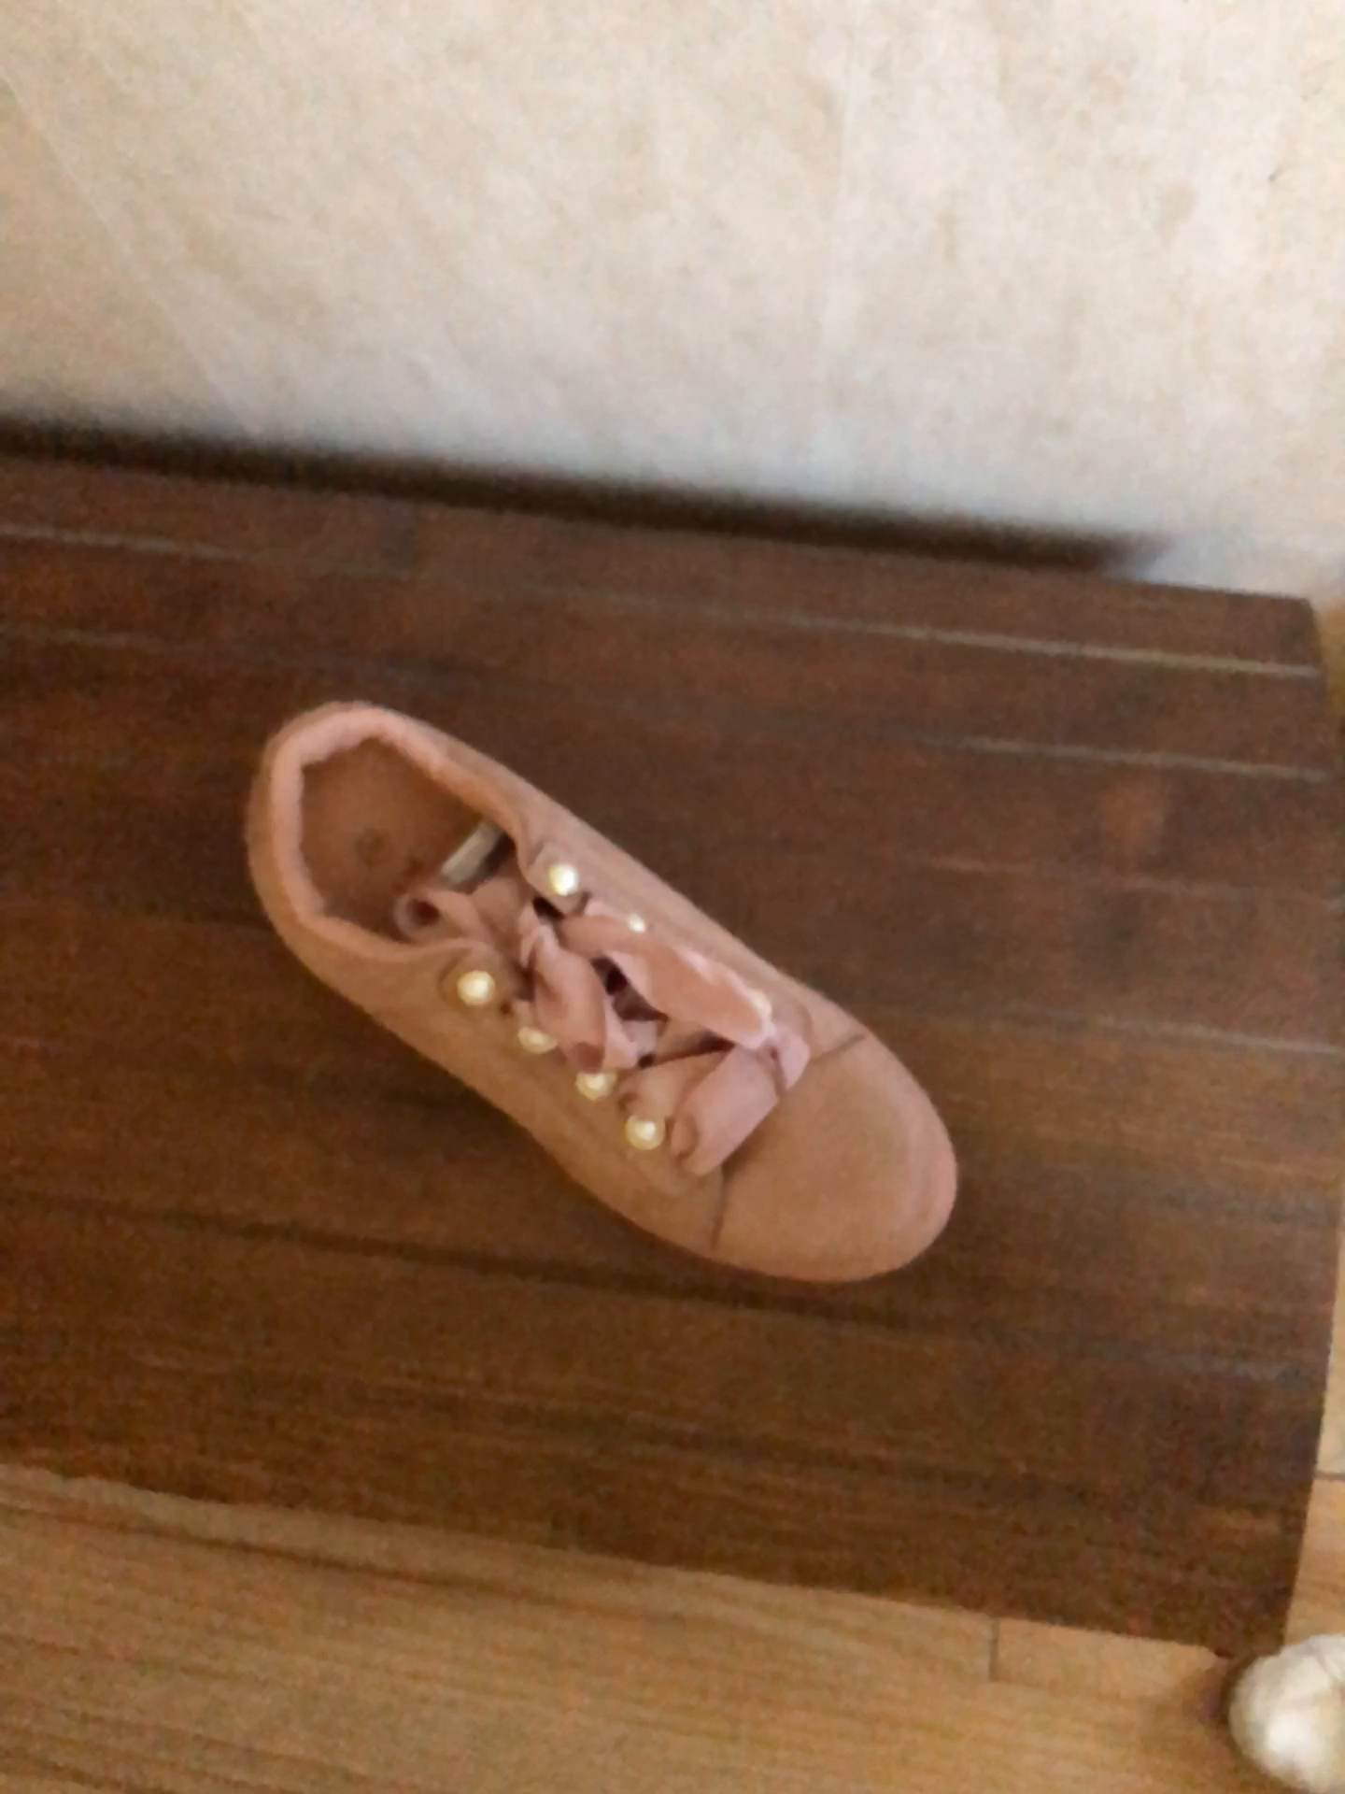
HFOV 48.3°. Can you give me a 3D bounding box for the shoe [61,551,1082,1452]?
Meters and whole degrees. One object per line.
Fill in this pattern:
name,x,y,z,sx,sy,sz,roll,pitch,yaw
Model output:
shoe,-0.031,0.029,0.467,0.280,0.090,0.110,36,84,8
